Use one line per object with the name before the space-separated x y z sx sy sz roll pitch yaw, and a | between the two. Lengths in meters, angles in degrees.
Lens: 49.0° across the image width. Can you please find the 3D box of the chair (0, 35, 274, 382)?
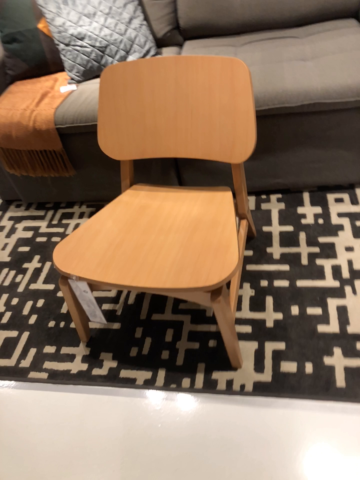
chair | -0.088 -0.097 1.123 0.641 0.626 0.654 4 48 16
